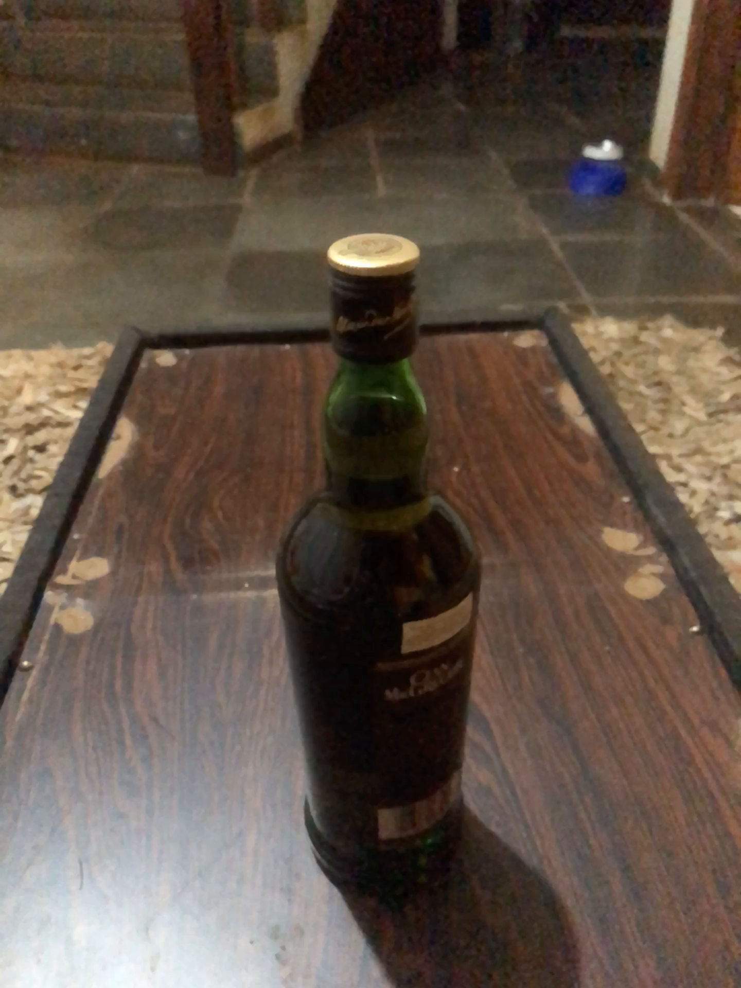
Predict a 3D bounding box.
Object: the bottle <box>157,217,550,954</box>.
[{"bbox_3d":[-0.008,0.056,0.357,0.100,0.308,0.101,-1,35,1],"label":"bottle"}]
